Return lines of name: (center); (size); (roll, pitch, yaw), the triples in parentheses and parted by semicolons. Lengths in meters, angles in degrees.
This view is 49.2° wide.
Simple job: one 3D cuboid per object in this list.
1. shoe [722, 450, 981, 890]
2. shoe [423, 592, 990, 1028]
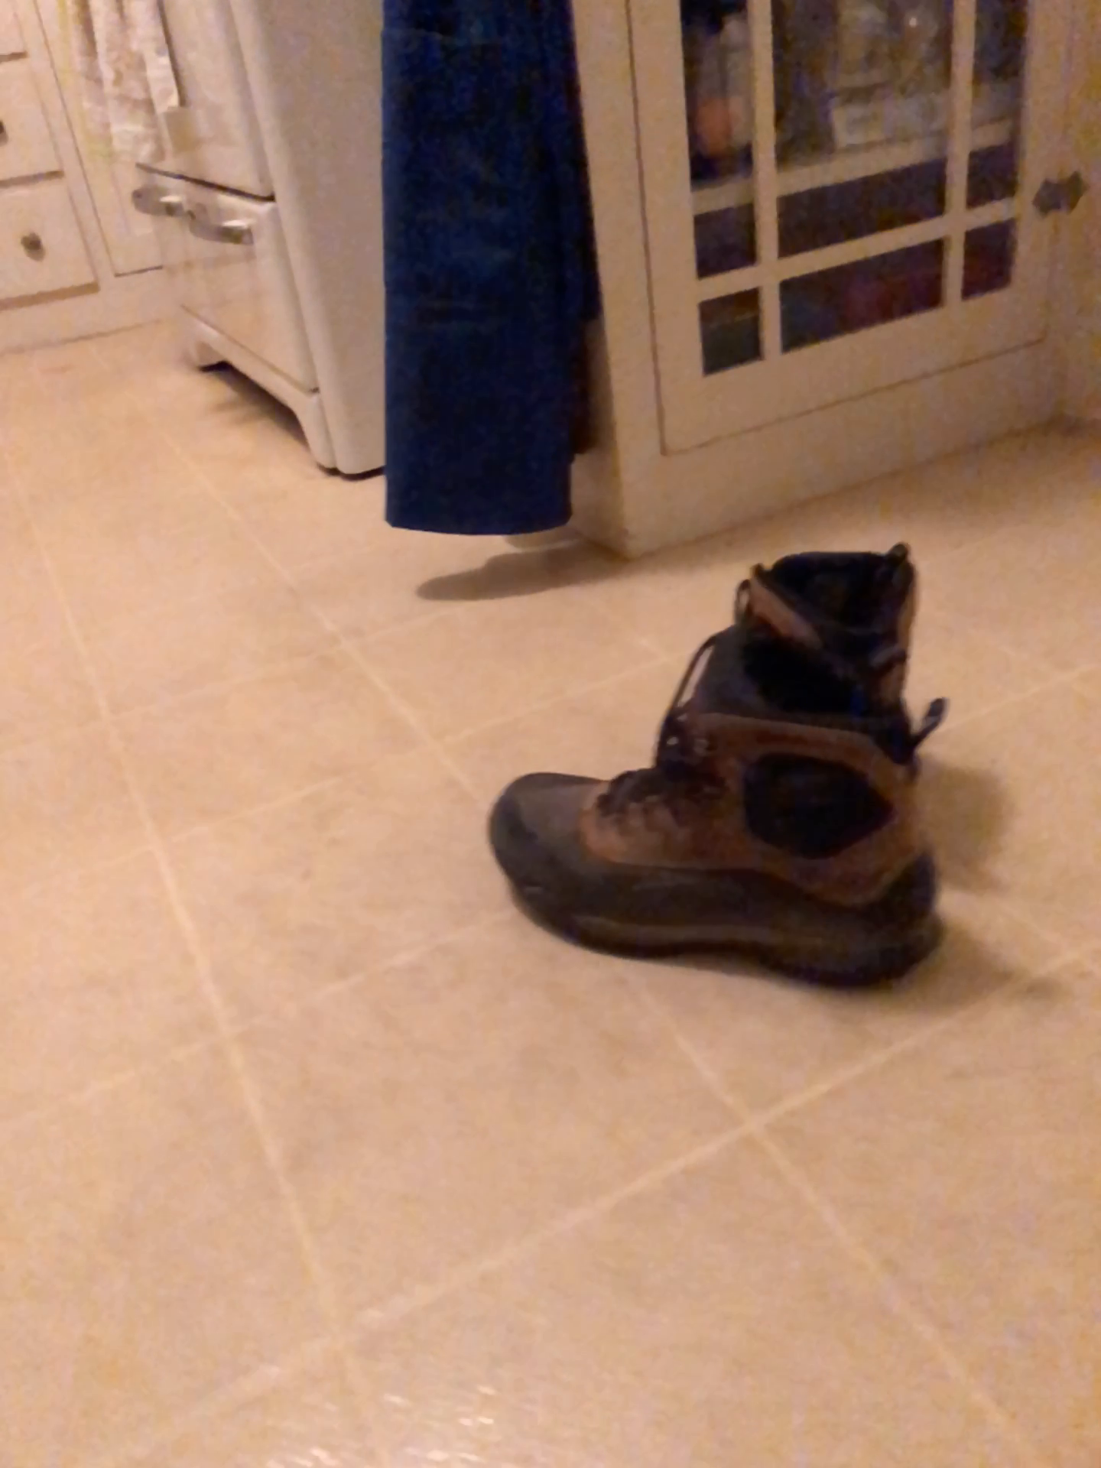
shoe: (0.201, -0.059, 0.864); (0.113, 0.185, 0.294); (-6, 32, 4)
shoe: (0.097, 0.035, 0.737); (0.299, 0.185, 0.122); (8, 35, 25)
